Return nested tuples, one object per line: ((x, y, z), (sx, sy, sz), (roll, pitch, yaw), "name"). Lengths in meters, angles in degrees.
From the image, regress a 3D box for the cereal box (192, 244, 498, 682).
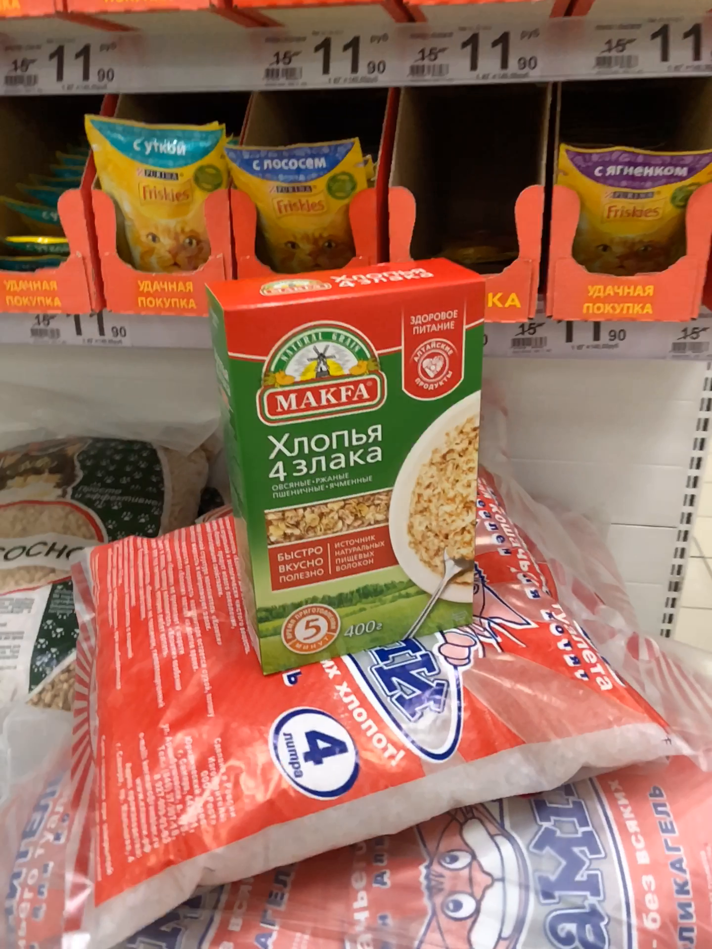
((-0.005, -0.005, 0.428), (0.140, 0.219, 0.050), (-10, 28, -19), "cereal box")
